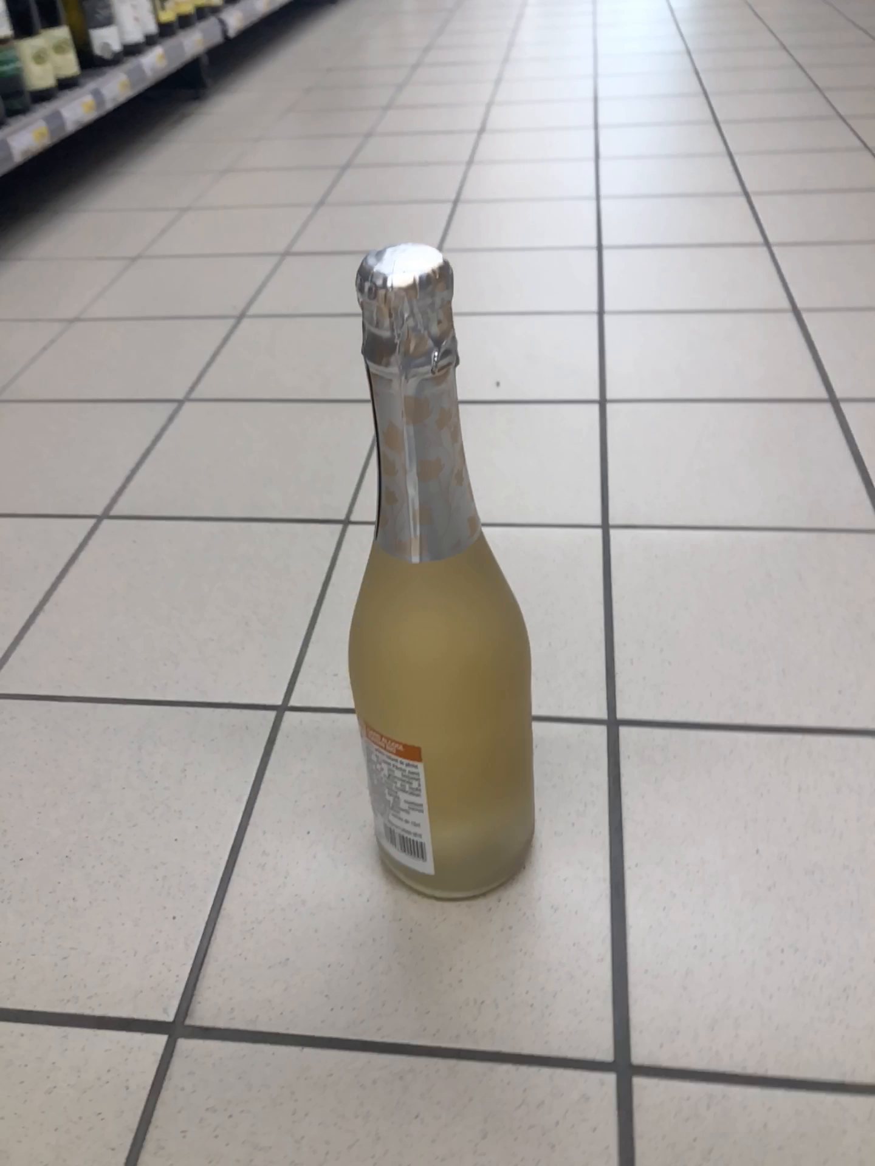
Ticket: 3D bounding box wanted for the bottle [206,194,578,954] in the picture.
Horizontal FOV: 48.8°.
[{"bbox_3d":[-0.008,0.012,0.411,0.090,0.308,0.090,-3,37,2],"label":"bottle"}]
